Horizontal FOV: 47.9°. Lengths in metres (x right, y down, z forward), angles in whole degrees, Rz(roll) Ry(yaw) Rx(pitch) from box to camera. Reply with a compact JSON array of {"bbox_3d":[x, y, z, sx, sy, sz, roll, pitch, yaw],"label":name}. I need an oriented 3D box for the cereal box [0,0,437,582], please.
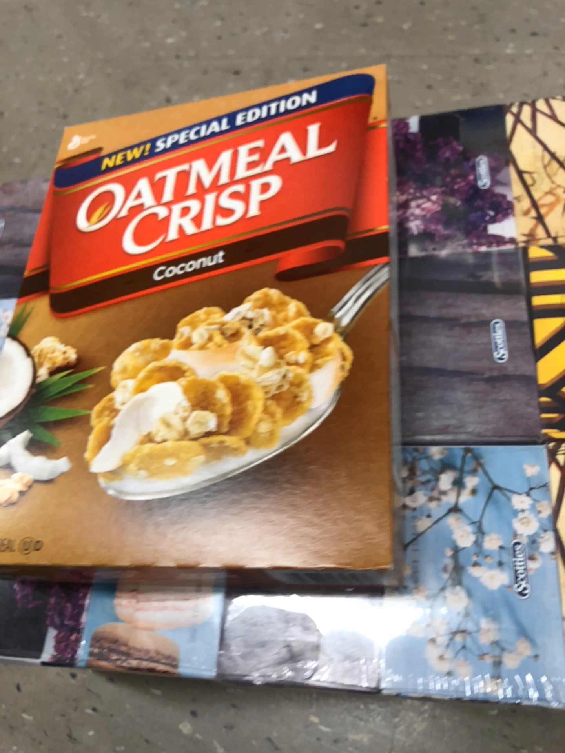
[{"bbox_3d":[-0.039,-0.051,0.325,0.210,0.060,0.290,-7,58,19],"label":"cereal box"}]
